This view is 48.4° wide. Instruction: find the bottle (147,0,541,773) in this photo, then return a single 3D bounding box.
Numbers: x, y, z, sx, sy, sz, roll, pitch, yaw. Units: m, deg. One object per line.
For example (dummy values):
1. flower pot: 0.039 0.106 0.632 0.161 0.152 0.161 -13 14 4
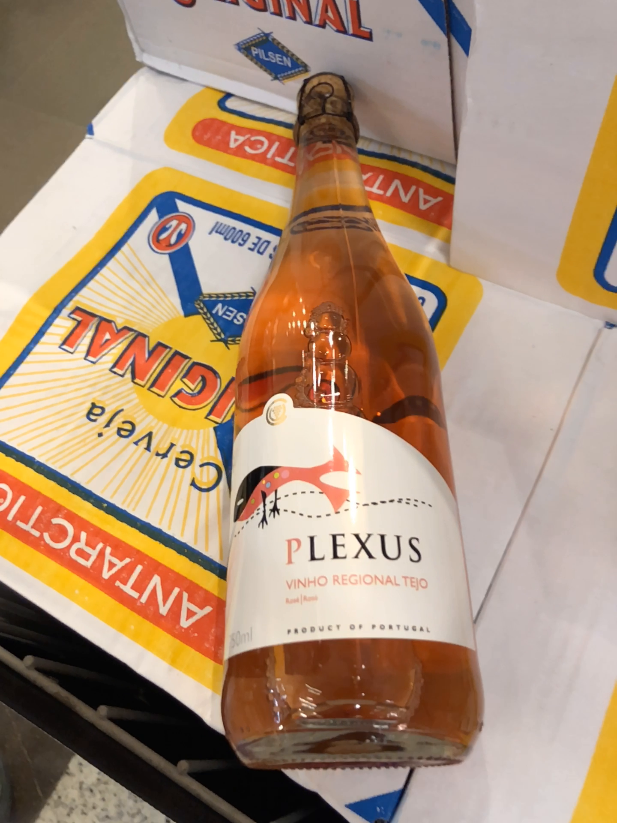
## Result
1. bottle: 0.009 -0.030 0.257 0.090 0.070 0.291 -4 61 6
